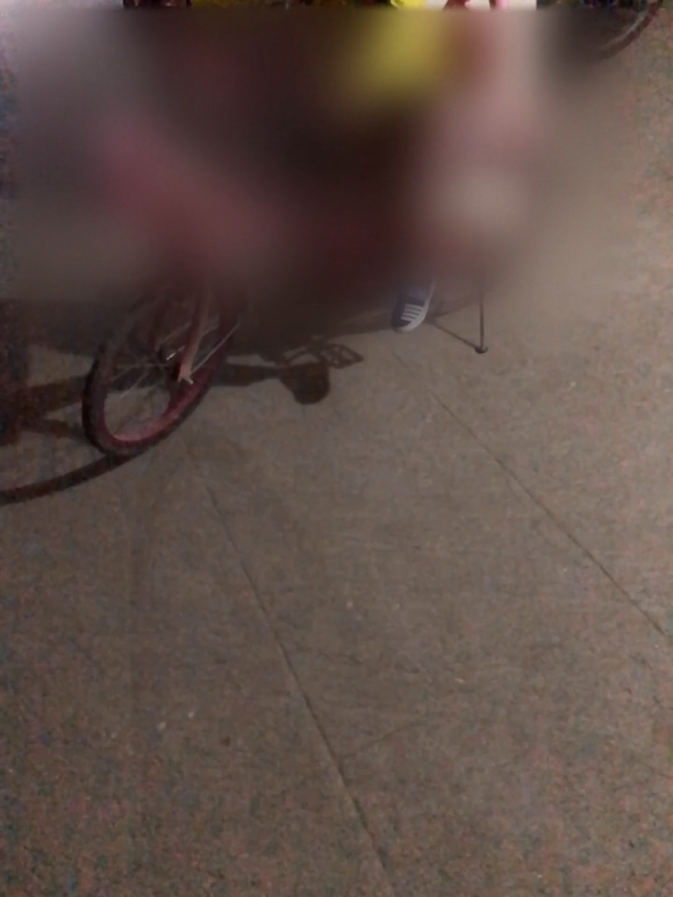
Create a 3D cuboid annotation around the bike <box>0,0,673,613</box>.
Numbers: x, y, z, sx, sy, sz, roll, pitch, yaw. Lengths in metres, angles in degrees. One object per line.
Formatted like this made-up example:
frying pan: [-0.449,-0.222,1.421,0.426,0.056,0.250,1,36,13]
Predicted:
bike: [0.063,-0.436,1.500,1.281,0.910,0.495,-28,45,-21]
